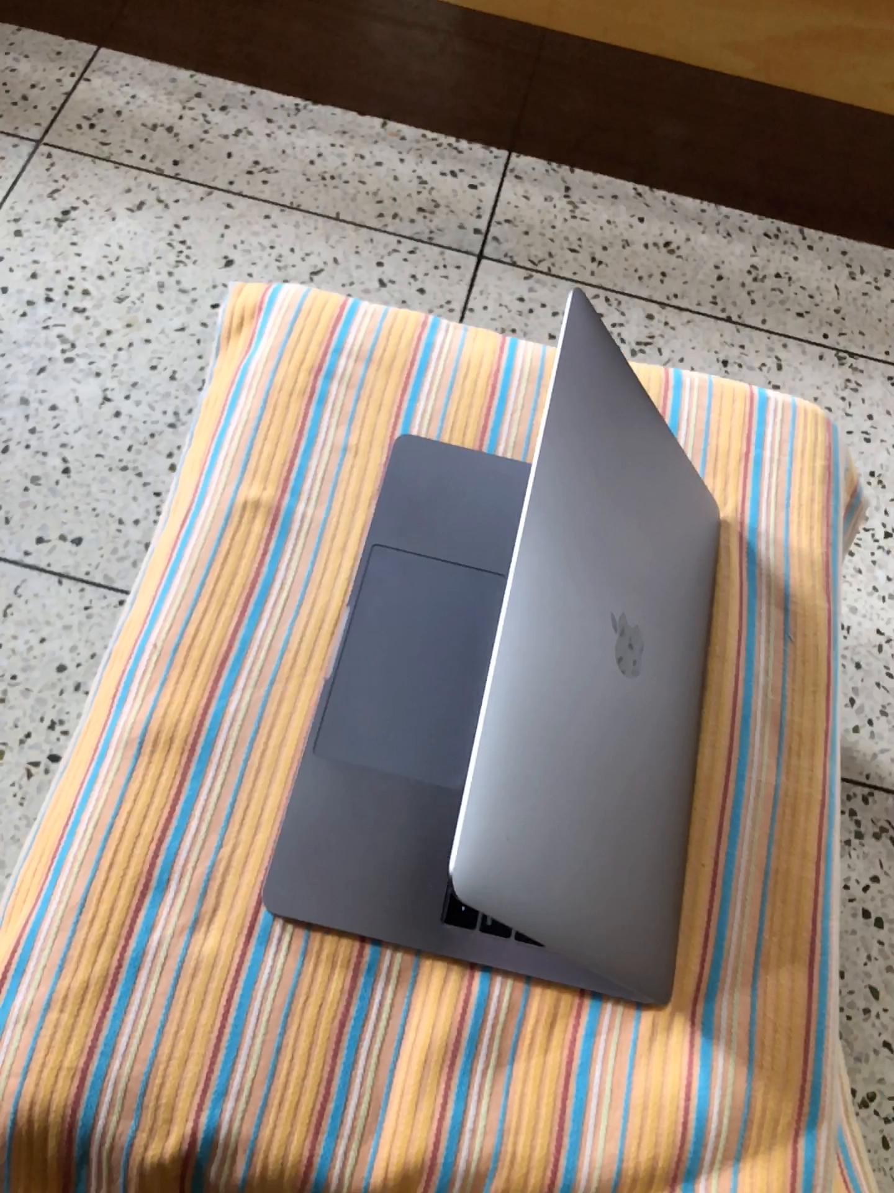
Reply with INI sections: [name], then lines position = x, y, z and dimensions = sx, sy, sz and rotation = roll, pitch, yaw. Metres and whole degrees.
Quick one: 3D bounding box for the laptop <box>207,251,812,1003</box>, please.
[laptop]
position = 0.038, 0.016, 0.492
dimensions = 0.203, 0.160, 0.295
rotation = 15, 63, 1
